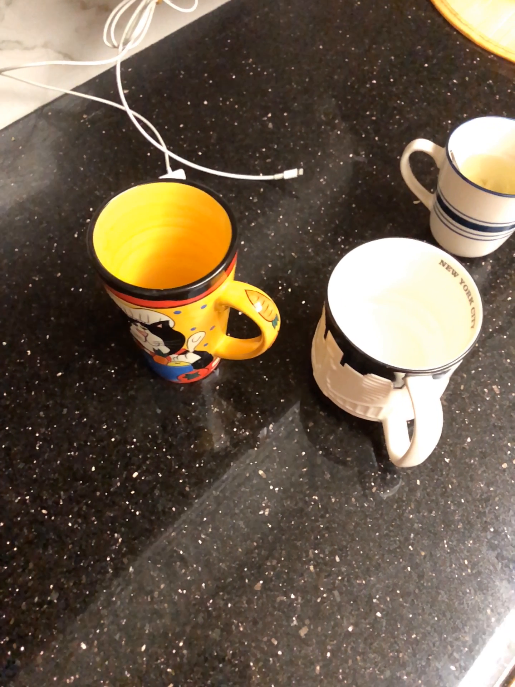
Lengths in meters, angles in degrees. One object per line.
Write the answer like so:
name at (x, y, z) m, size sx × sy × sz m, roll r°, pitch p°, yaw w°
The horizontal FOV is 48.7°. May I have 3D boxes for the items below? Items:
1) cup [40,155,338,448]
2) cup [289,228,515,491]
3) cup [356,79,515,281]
cup at (-0.038, -0.022, 0.375) m, size 0.140 × 0.130 × 0.090 m, roll 25°, pitch 63°, yaw 13°
cup at (0.093, 0.011, 0.394) m, size 0.110 × 0.090 × 0.140 m, roll -9°, pitch 61°, yaw -6°
cup at (0.161, -0.130, 0.456) m, size 0.130 × 0.090 × 0.090 m, roll 18°, pitch 61°, yaw 9°
